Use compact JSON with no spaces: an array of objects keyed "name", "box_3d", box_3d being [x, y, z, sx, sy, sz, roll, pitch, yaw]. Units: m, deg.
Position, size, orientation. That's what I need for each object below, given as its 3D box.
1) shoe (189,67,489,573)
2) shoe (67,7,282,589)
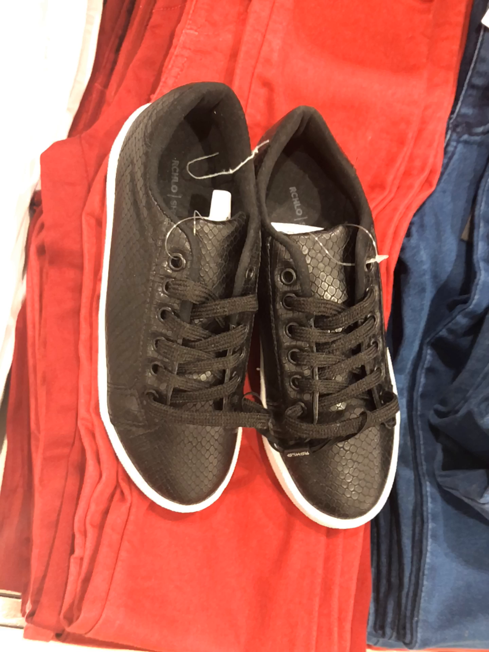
[{"name":"shoe","box_3d":[0.039,-0.008,0.318,0.090,0.100,0.250,-8,78,-16]},{"name":"shoe","box_3d":[-0.045,-0.013,0.296,0.090,0.100,0.250,-2,89,-19]}]
